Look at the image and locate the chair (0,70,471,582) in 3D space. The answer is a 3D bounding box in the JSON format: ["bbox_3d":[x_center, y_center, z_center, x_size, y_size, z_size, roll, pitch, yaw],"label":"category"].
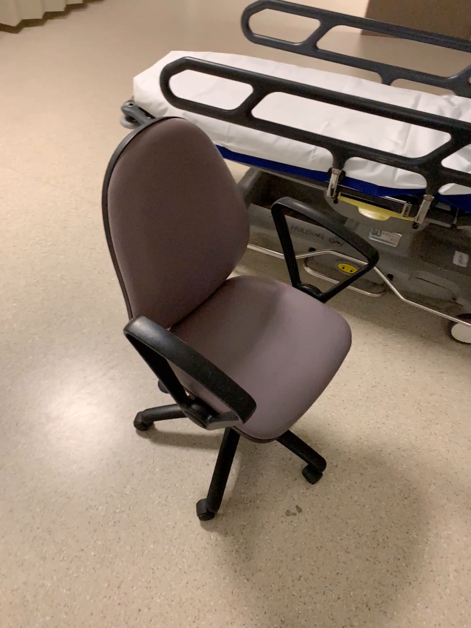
[{"bbox_3d":[0.022,0.042,1.221,0.712,0.882,0.654,34,54,22],"label":"chair"}]
